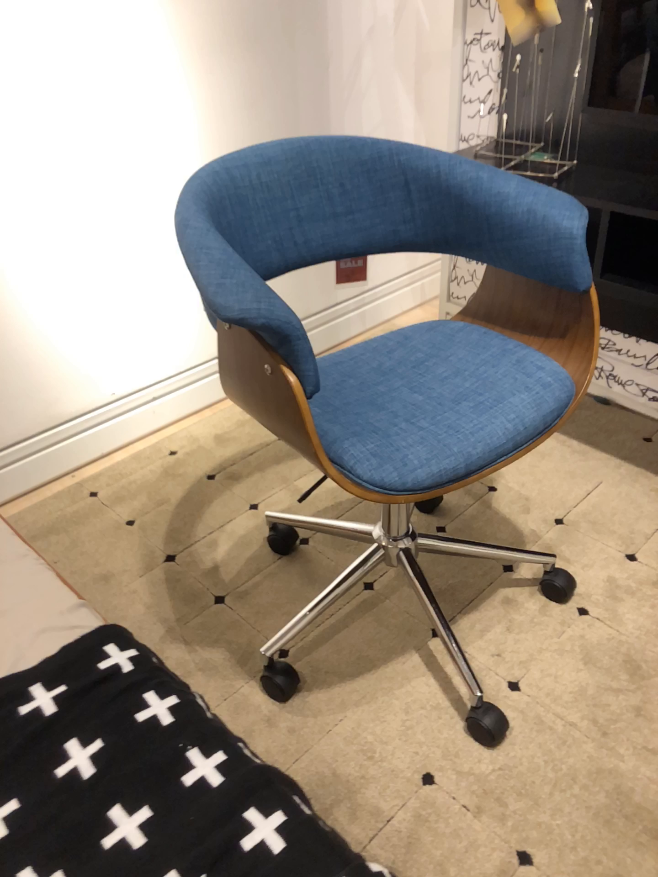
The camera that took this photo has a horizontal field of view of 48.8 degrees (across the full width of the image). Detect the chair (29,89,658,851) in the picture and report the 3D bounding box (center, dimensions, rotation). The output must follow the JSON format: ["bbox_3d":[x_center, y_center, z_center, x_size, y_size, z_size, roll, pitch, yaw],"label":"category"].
[{"bbox_3d":[0.070,-0.038,1.113,0.612,0.773,0.673,-27,41,-32],"label":"chair"}]
